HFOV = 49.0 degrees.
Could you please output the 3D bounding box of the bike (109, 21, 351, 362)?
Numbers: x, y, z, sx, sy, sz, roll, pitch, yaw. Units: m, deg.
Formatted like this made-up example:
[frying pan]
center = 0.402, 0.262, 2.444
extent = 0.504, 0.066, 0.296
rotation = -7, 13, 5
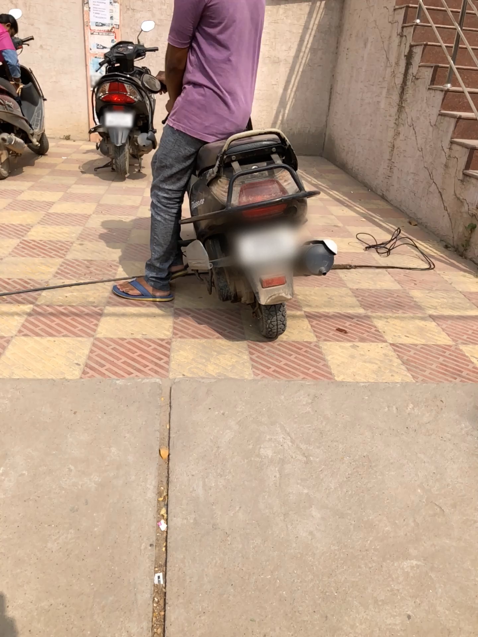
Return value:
[bike]
center = -0.224, -0.696, 2.466
extent = 0.636, 1.117, 1.600
rotation = -3, 27, -15
